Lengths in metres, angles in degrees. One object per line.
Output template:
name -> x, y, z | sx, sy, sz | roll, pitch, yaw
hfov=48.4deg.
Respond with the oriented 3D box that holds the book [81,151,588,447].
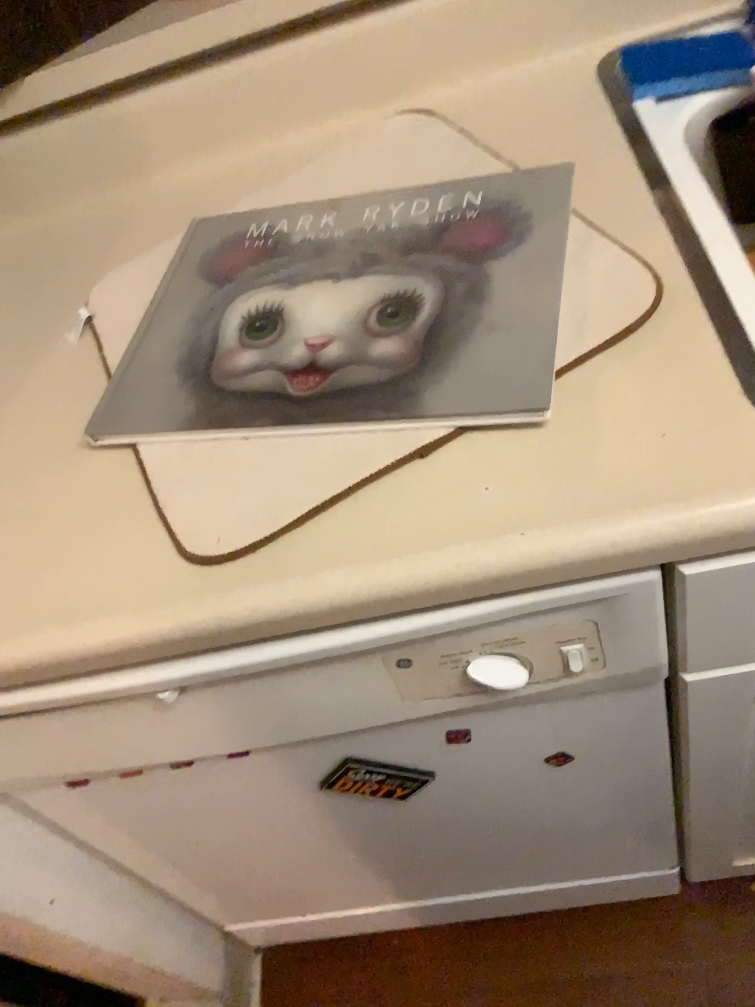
book -> -0.028, -0.171, 0.696 | 0.380, 0.020, 0.290 | -1, 52, 20
